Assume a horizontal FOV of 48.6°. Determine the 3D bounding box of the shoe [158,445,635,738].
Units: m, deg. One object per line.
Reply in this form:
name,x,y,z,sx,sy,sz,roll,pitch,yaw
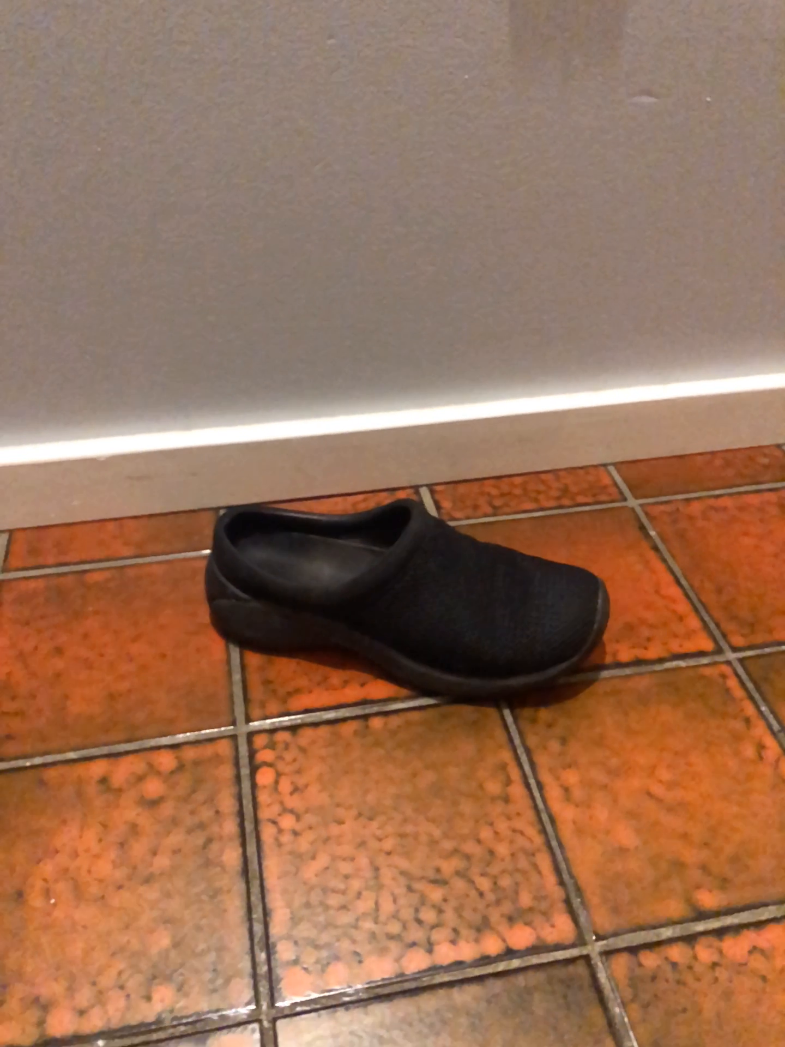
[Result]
shoe,0.006,0.035,0.510,0.250,0.080,0.100,10,42,9
